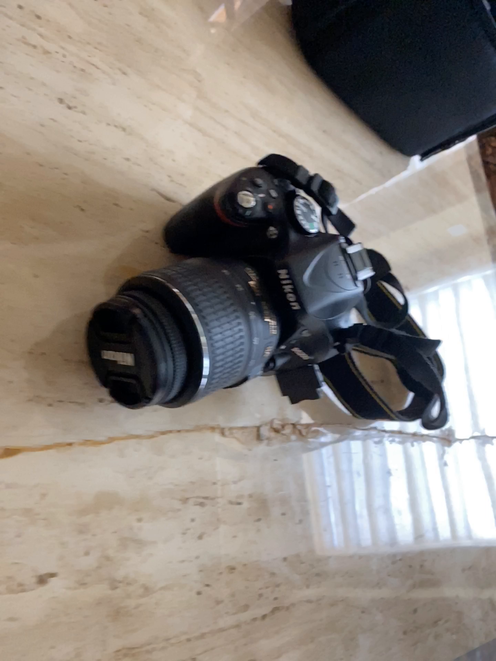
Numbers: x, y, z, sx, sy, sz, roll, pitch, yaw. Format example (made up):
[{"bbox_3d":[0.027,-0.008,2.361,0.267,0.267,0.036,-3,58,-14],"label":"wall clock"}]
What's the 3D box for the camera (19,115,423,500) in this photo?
[{"bbox_3d":[-0.004,-0.019,0.289,0.160,0.100,0.152,-24,91,-50],"label":"camera"}]
